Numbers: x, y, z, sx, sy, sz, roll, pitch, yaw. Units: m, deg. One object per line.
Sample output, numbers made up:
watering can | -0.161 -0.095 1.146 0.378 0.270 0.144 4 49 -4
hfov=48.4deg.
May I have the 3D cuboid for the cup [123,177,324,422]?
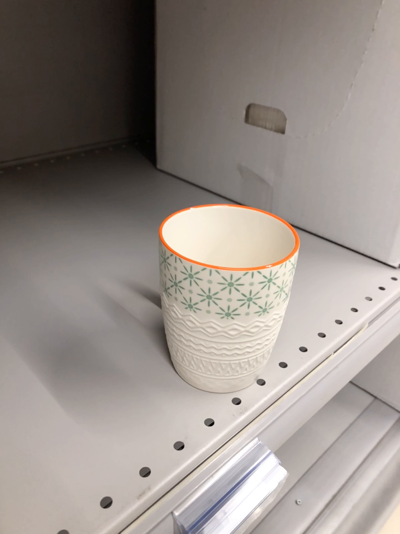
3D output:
cup | 0.007 0.014 0.299 0.092 0.100 0.118 -9 35 -12
